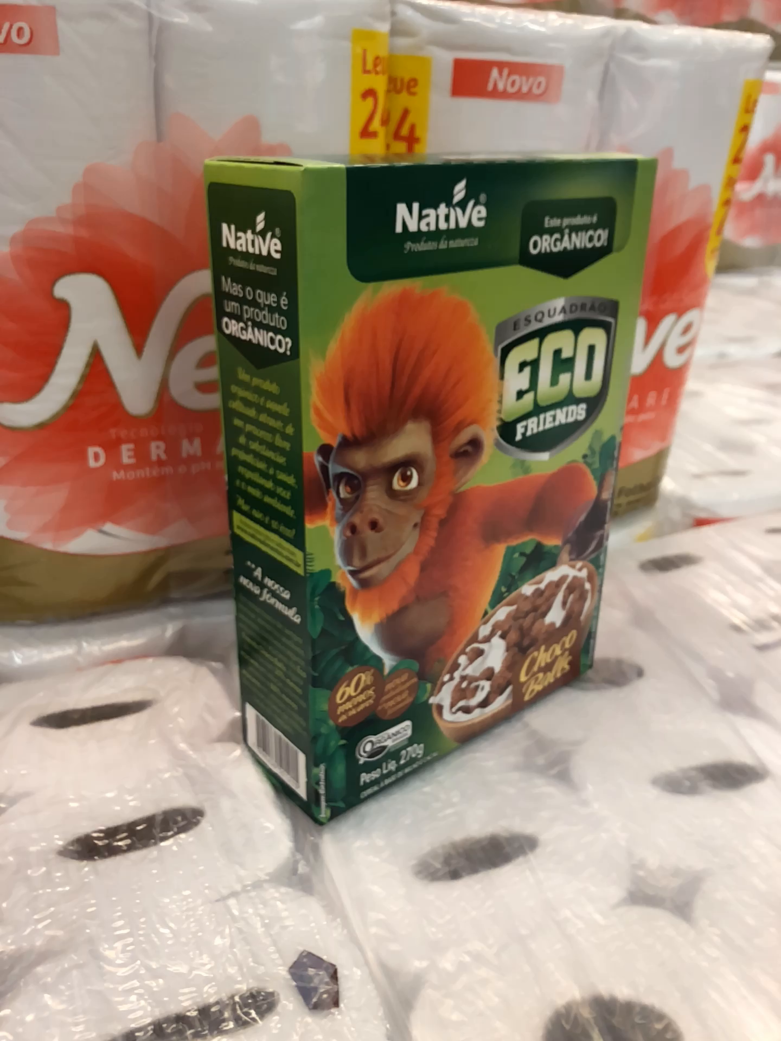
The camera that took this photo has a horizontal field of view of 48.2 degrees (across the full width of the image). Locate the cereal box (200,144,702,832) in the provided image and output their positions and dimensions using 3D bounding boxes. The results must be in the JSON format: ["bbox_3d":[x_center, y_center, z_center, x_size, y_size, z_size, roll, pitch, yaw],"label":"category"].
[{"bbox_3d":[0.029,-0.024,0.346,0.180,0.228,0.060,-18,29,-36],"label":"cereal box"}]
